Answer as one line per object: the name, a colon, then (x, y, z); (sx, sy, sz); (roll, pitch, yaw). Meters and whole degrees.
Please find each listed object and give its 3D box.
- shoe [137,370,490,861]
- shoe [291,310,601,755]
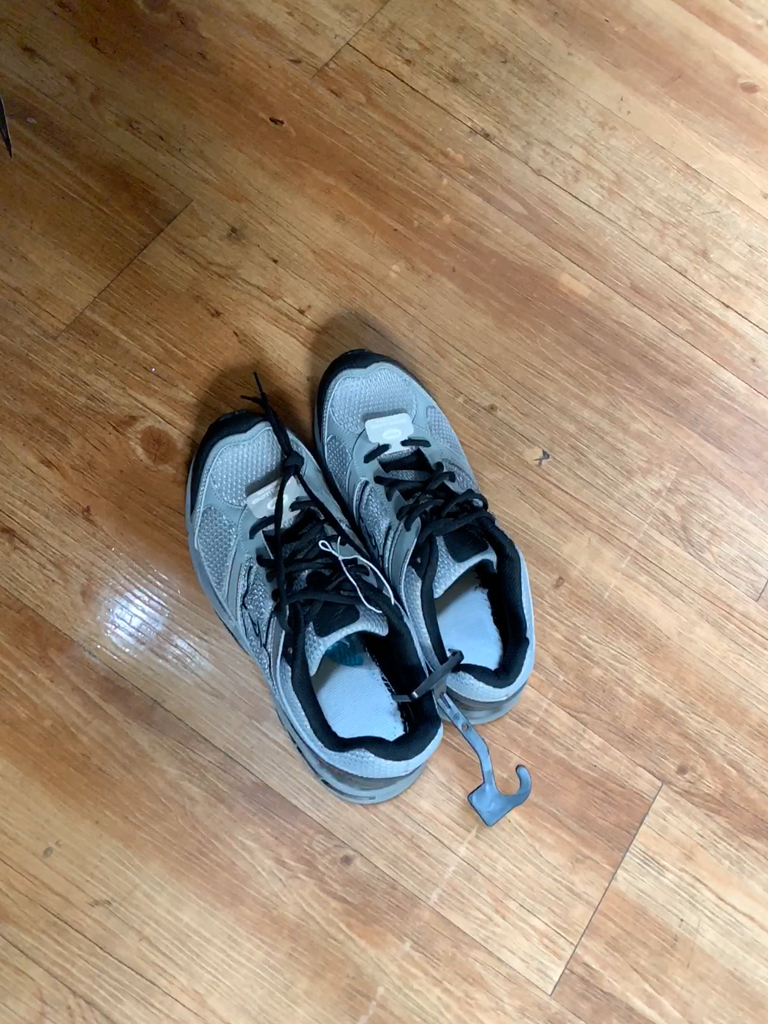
shoe: (-0.058, 0.070, 0.577); (0.123, 0.099, 0.308); (-23, 79, -14)
shoe: (0.036, 0.014, 0.604); (0.117, 0.089, 0.307); (-18, 78, -13)
